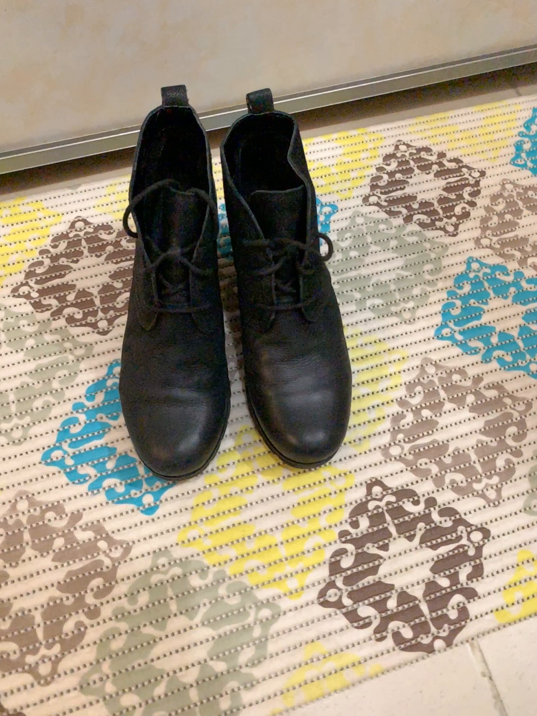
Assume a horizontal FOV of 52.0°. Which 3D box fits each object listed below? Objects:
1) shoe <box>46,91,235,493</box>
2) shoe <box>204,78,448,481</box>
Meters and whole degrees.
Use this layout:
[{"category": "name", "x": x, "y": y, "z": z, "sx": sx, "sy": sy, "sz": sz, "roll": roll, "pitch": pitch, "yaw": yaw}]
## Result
[{"category": "shoe", "x": -0.077, "y": -0.041, "z": 0.384, "sx": 0.090, "sy": 0.150, "sz": 0.230, "roll": -4, "pitch": 65, "yaw": -5}, {"category": "shoe", "x": 0.021, "y": -0.051, "z": 0.392, "sx": 0.090, "sy": 0.150, "sz": 0.230, "roll": -9, "pitch": 65, "yaw": -8}]
